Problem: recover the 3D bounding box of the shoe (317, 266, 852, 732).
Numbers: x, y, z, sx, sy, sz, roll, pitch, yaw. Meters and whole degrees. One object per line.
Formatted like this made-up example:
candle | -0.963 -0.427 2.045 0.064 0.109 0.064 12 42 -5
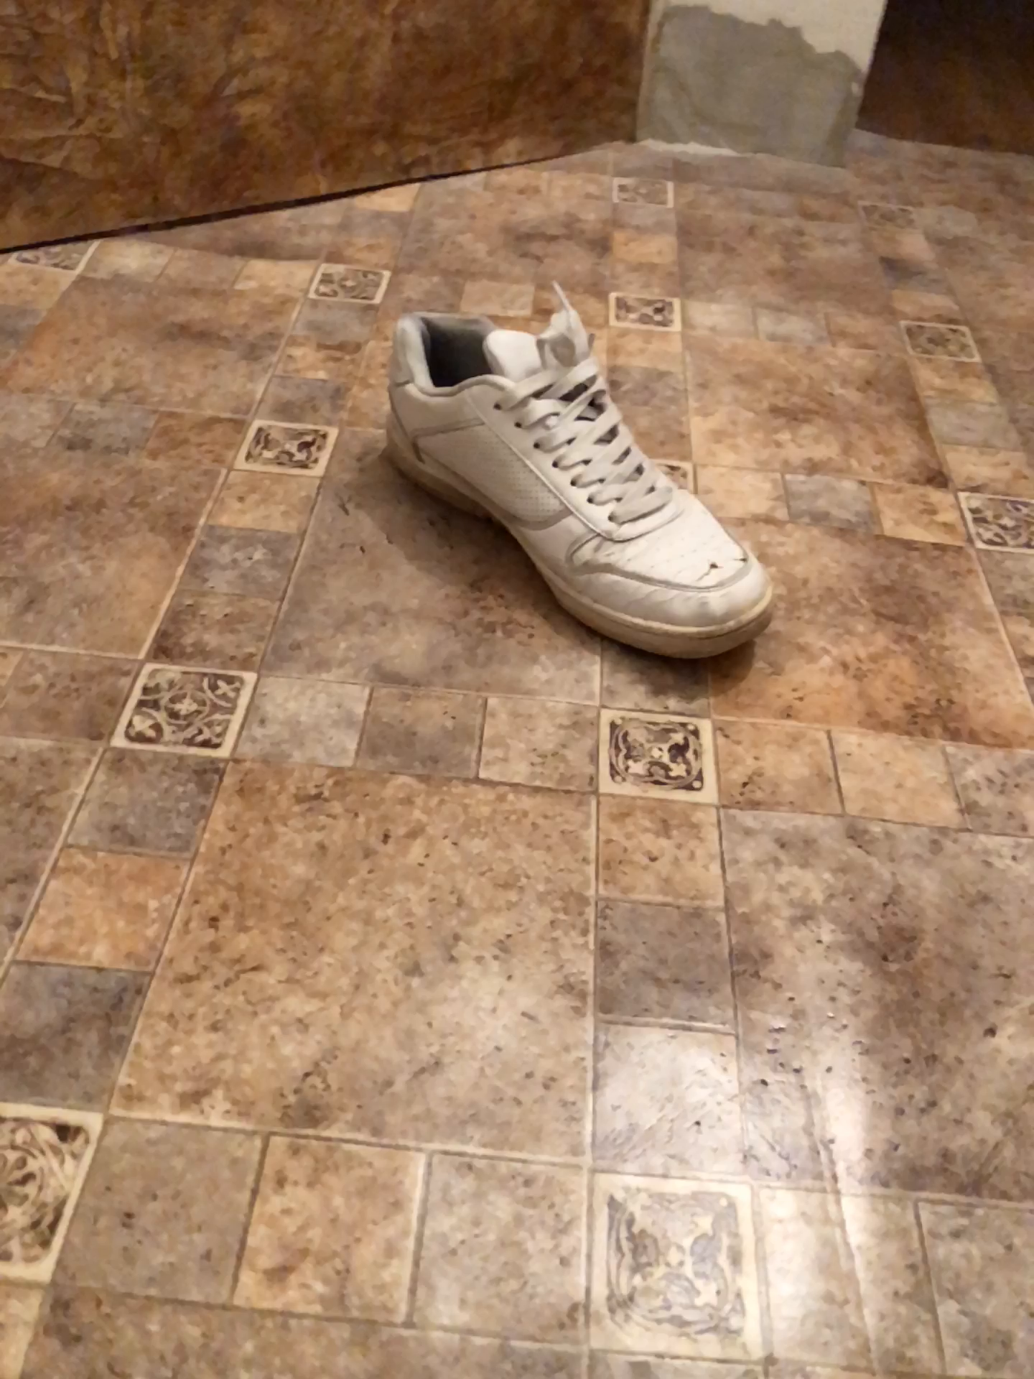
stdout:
shoe | 0.023 -0.121 0.639 0.123 0.109 0.281 -30 54 -32
